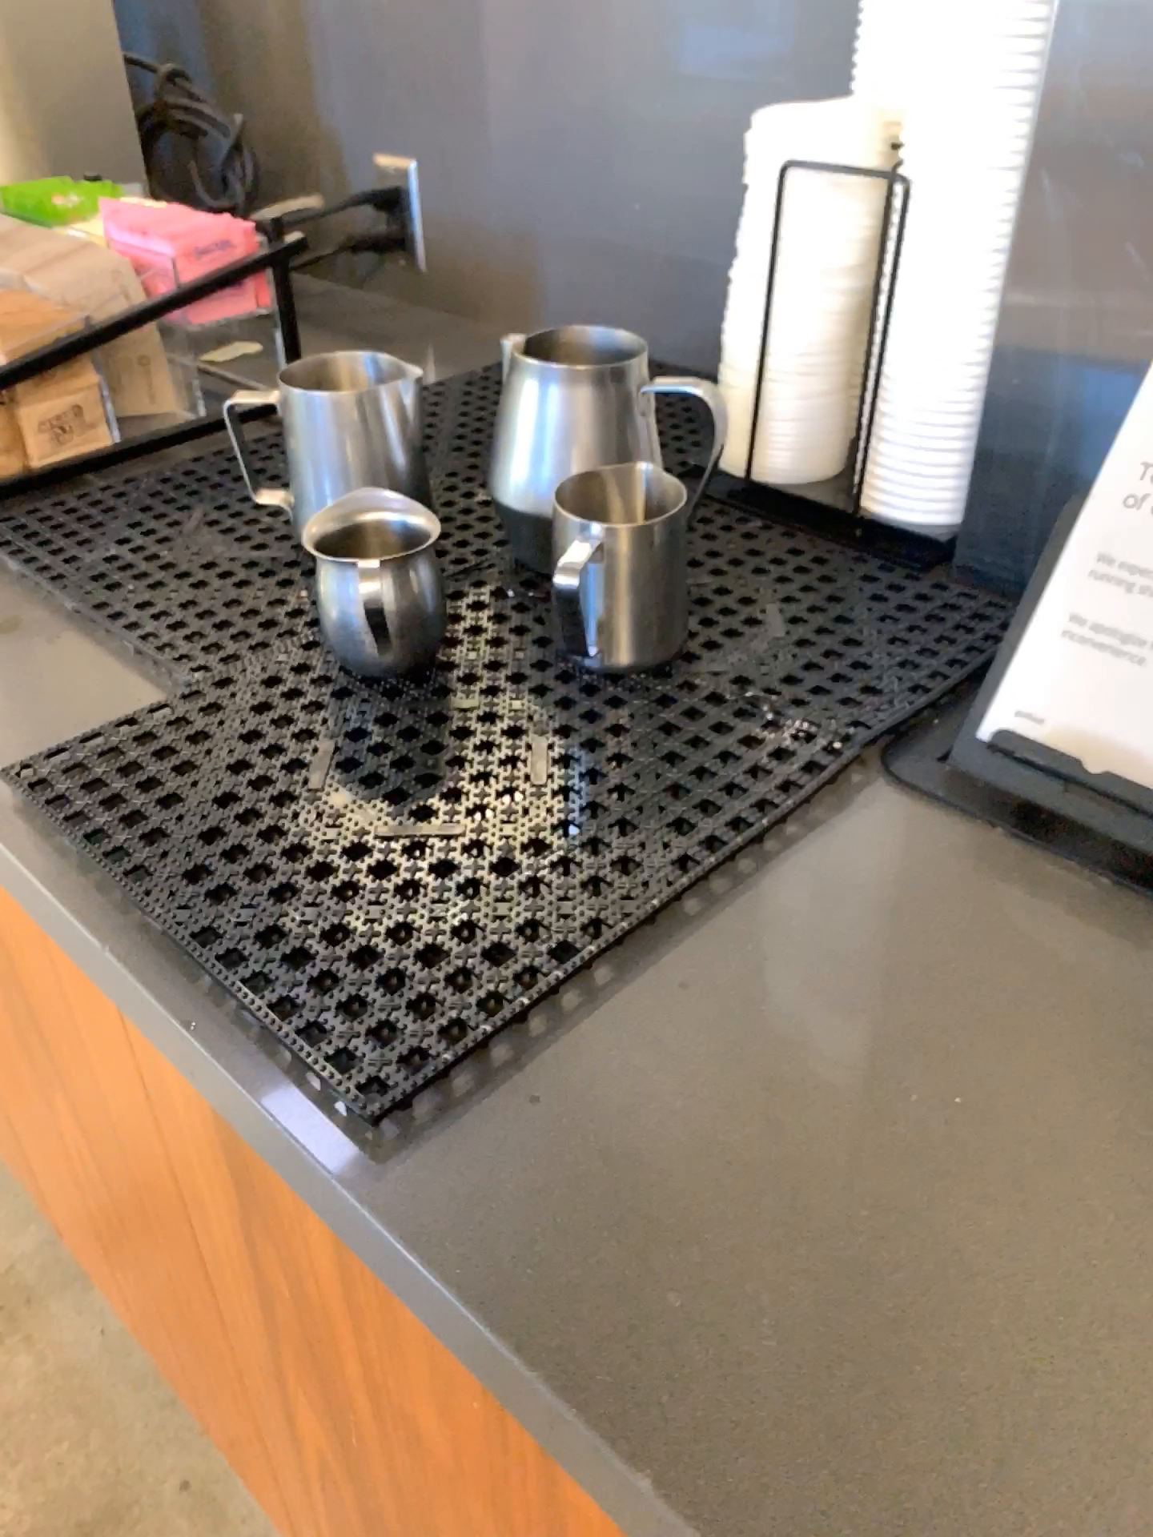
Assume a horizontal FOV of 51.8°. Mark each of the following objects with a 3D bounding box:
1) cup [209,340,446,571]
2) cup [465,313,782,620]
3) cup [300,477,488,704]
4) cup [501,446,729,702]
[{"bbox_3d":[-0.144,-0.190,0.720,0.120,0.109,0.081,-3,35,-3],"label":"cup"},{"bbox_3d":[0.028,-0.184,0.709,0.150,0.129,0.100,17,39,23],"label":"cup"},{"bbox_3d":[-0.095,-0.094,0.605,0.080,0.060,0.121,-7,36,-9],"label":"cup"},{"bbox_3d":[0.023,-0.103,0.608,0.080,0.079,0.110,12,37,18],"label":"cup"}]
